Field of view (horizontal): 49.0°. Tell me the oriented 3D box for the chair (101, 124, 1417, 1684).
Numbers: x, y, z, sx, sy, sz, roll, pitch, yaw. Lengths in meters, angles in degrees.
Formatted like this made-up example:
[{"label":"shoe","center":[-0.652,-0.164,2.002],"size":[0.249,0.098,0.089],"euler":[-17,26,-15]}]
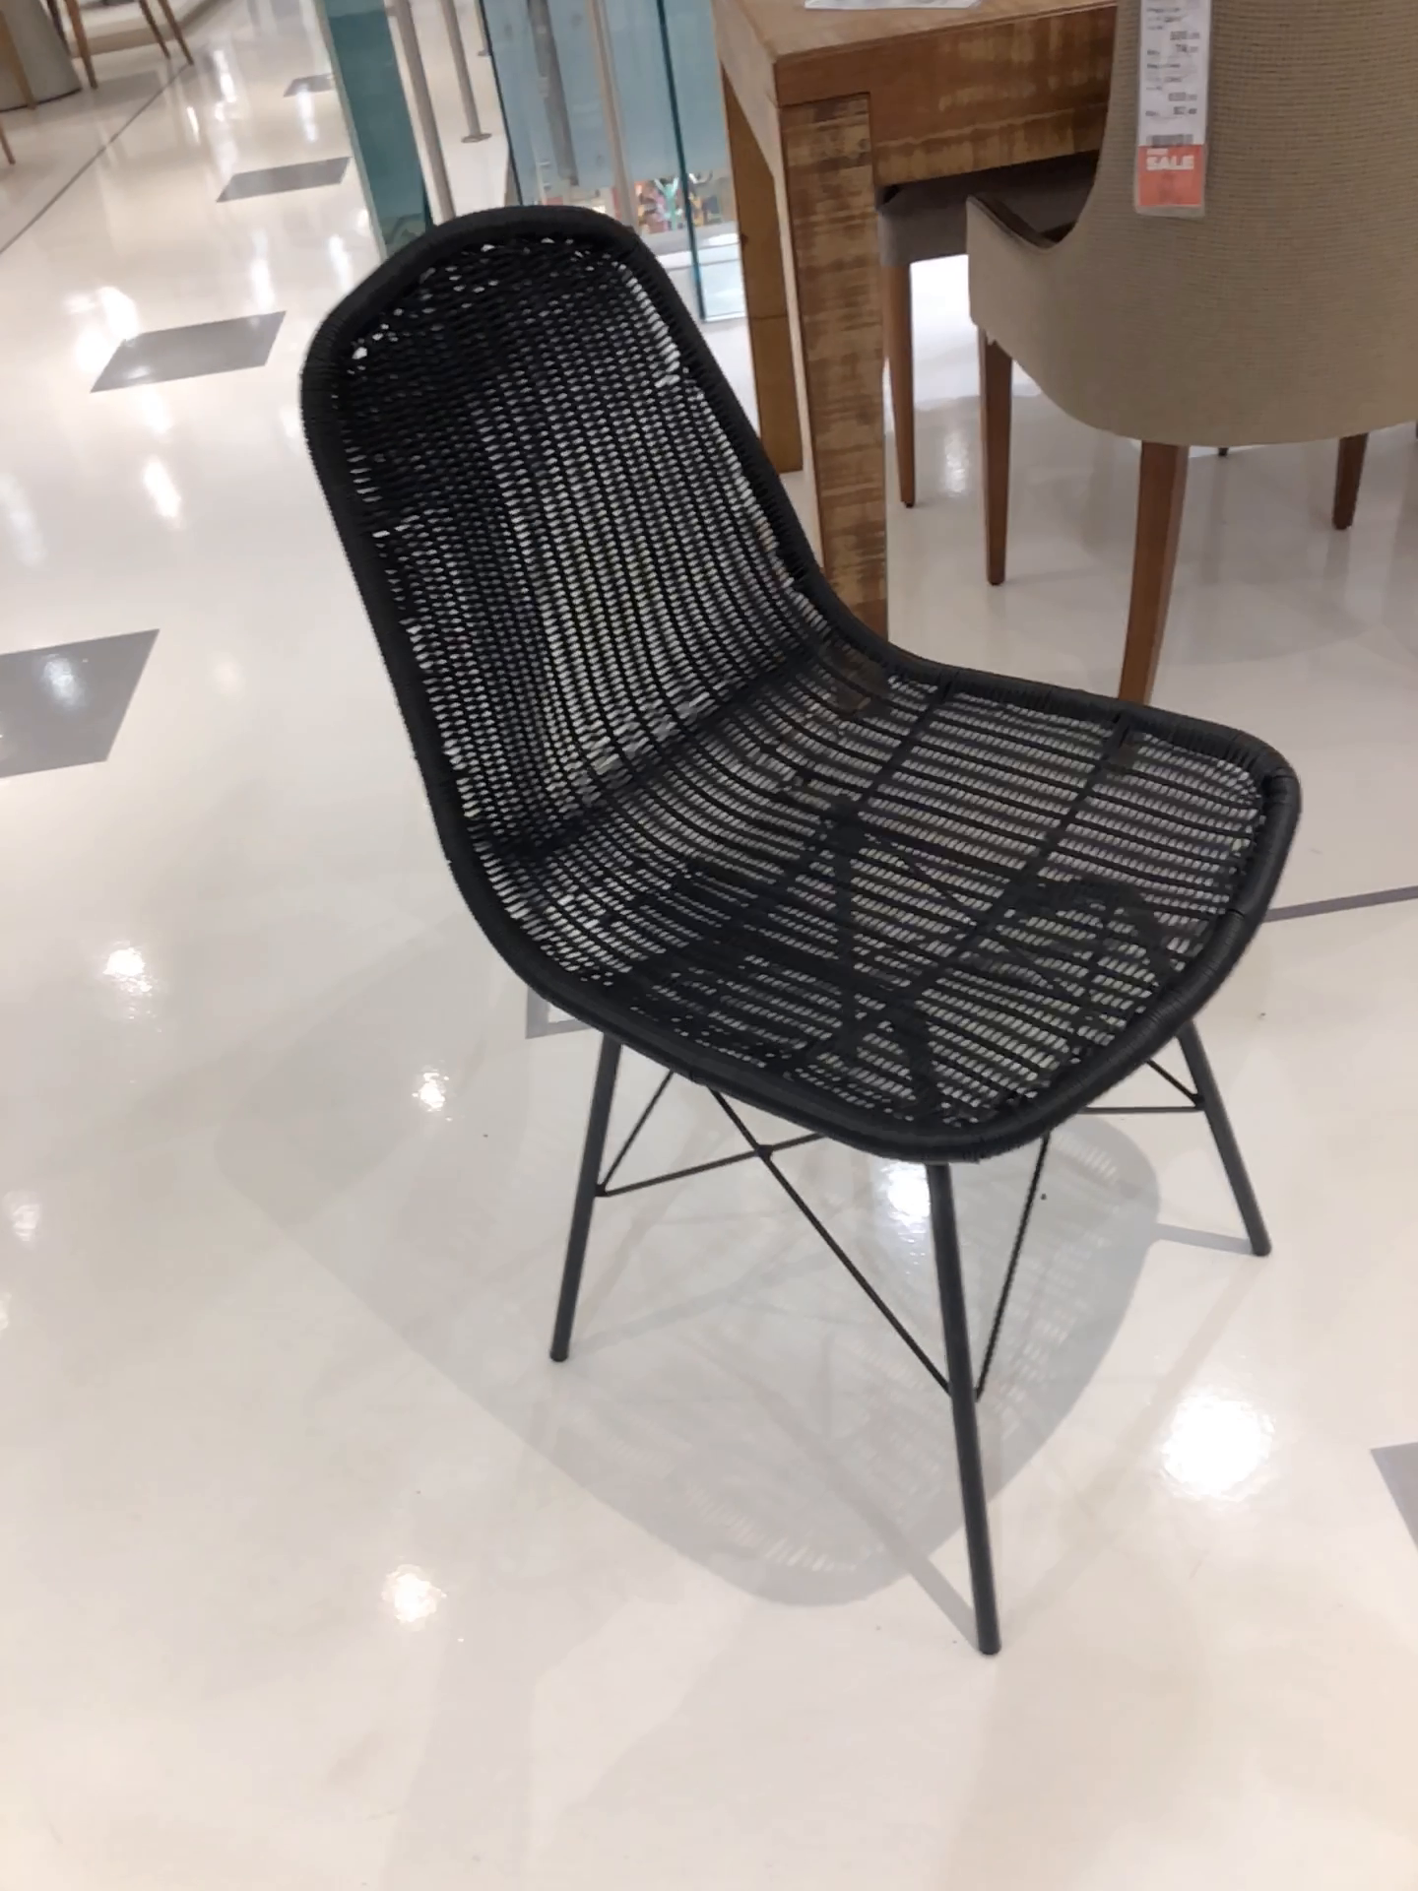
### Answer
[{"label":"chair","center":[0.091,-0.050,1.051],"size":[0.552,0.794,0.482],"euler":[22,48,34]}]
